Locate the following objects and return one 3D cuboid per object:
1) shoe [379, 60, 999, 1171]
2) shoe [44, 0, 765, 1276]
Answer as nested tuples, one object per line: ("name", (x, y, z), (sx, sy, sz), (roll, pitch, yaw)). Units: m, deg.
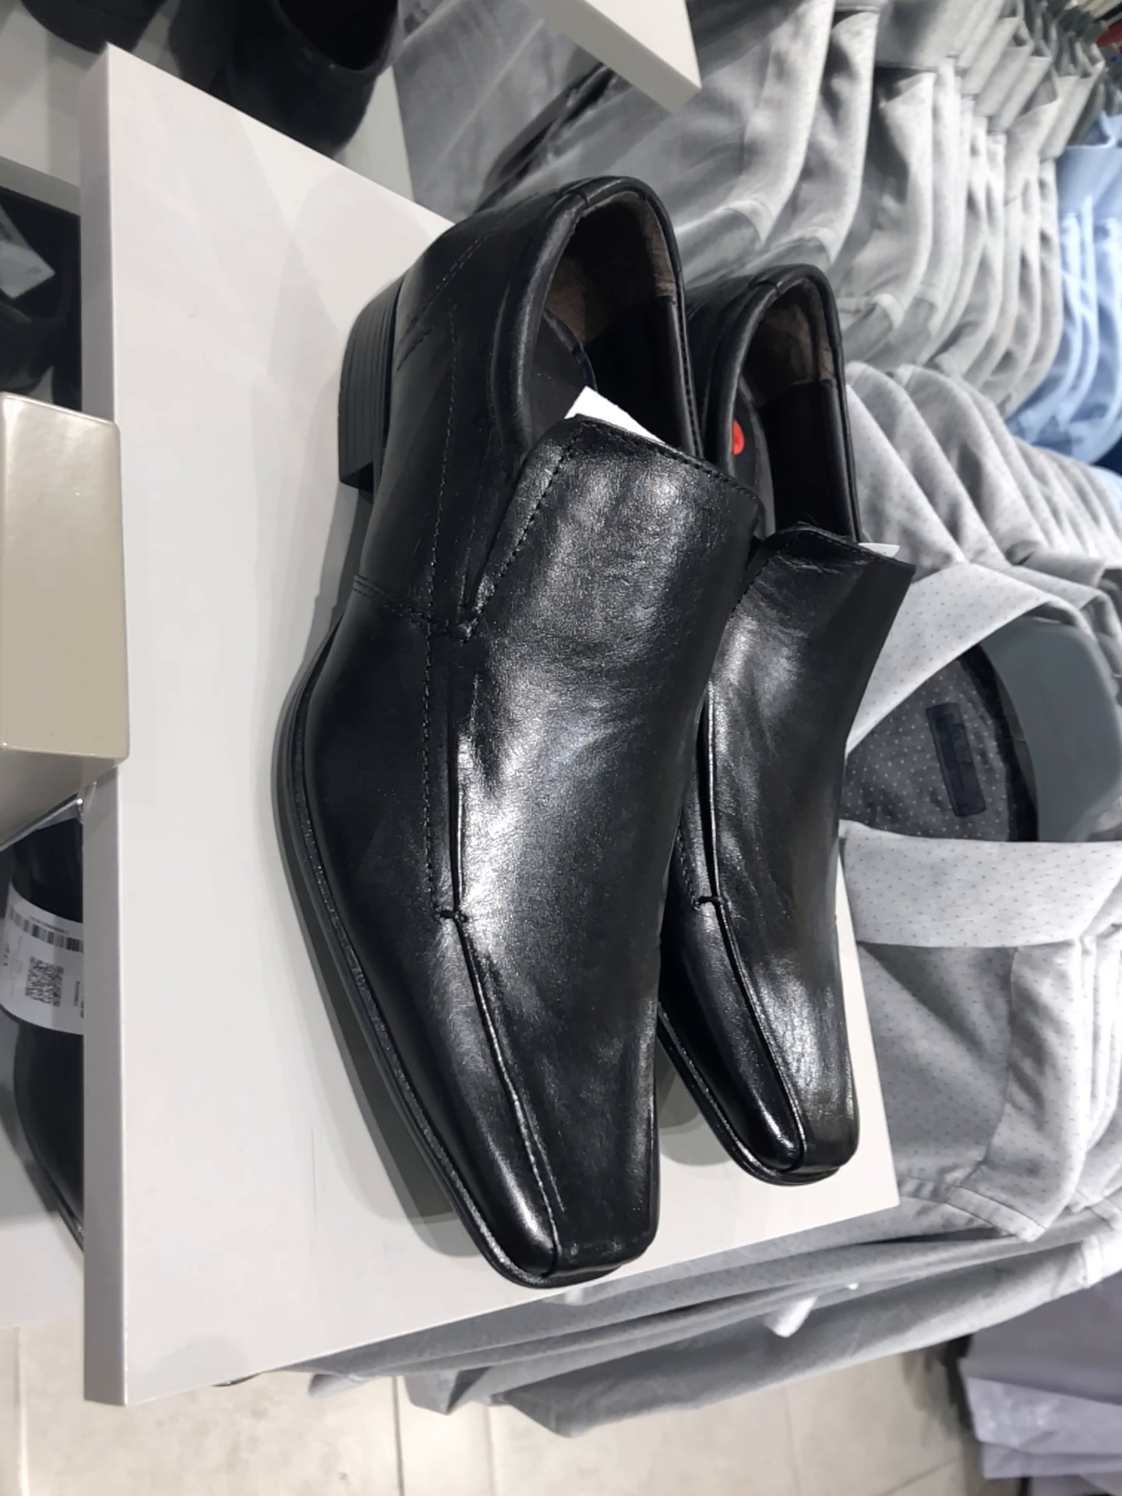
("shoe", (0.027, -0.031, 0.362), (0.111, 0.099, 0.280), (12, 65, -41))
("shoe", (-0.044, -0.040, 0.304), (0.111, 0.099, 0.300), (12, 65, -41))
